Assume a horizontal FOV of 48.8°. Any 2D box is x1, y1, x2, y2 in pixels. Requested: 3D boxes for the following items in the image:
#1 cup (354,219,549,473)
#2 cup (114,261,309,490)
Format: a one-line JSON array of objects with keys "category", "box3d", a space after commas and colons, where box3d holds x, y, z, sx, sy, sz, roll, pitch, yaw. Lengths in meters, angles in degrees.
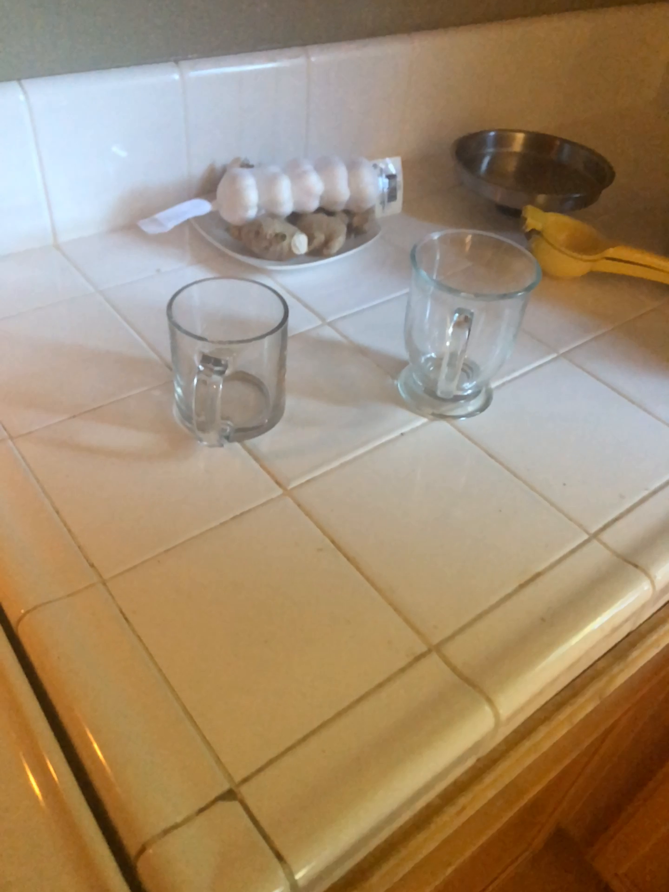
[{"category": "cup", "box3d": [0.087, -0.078, 0.557, 0.090, 0.119, 0.131, 21, 45, 14]}, {"category": "cup", "box3d": [-0.083, -0.055, 0.536, 0.090, 0.089, 0.131, 14, 44, 7]}]
